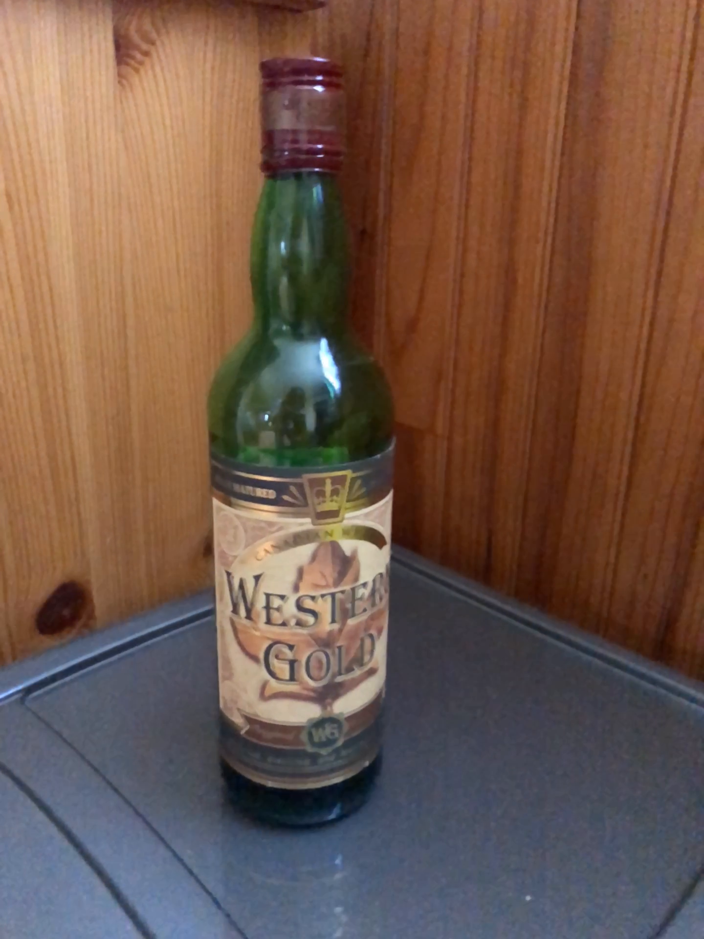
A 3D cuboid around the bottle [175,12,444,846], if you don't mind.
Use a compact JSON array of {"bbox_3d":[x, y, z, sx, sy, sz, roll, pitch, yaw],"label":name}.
[{"bbox_3d":[-0.022,-0.004,0.314,0.080,0.299,0.080,1,19,0],"label":"bottle"}]
